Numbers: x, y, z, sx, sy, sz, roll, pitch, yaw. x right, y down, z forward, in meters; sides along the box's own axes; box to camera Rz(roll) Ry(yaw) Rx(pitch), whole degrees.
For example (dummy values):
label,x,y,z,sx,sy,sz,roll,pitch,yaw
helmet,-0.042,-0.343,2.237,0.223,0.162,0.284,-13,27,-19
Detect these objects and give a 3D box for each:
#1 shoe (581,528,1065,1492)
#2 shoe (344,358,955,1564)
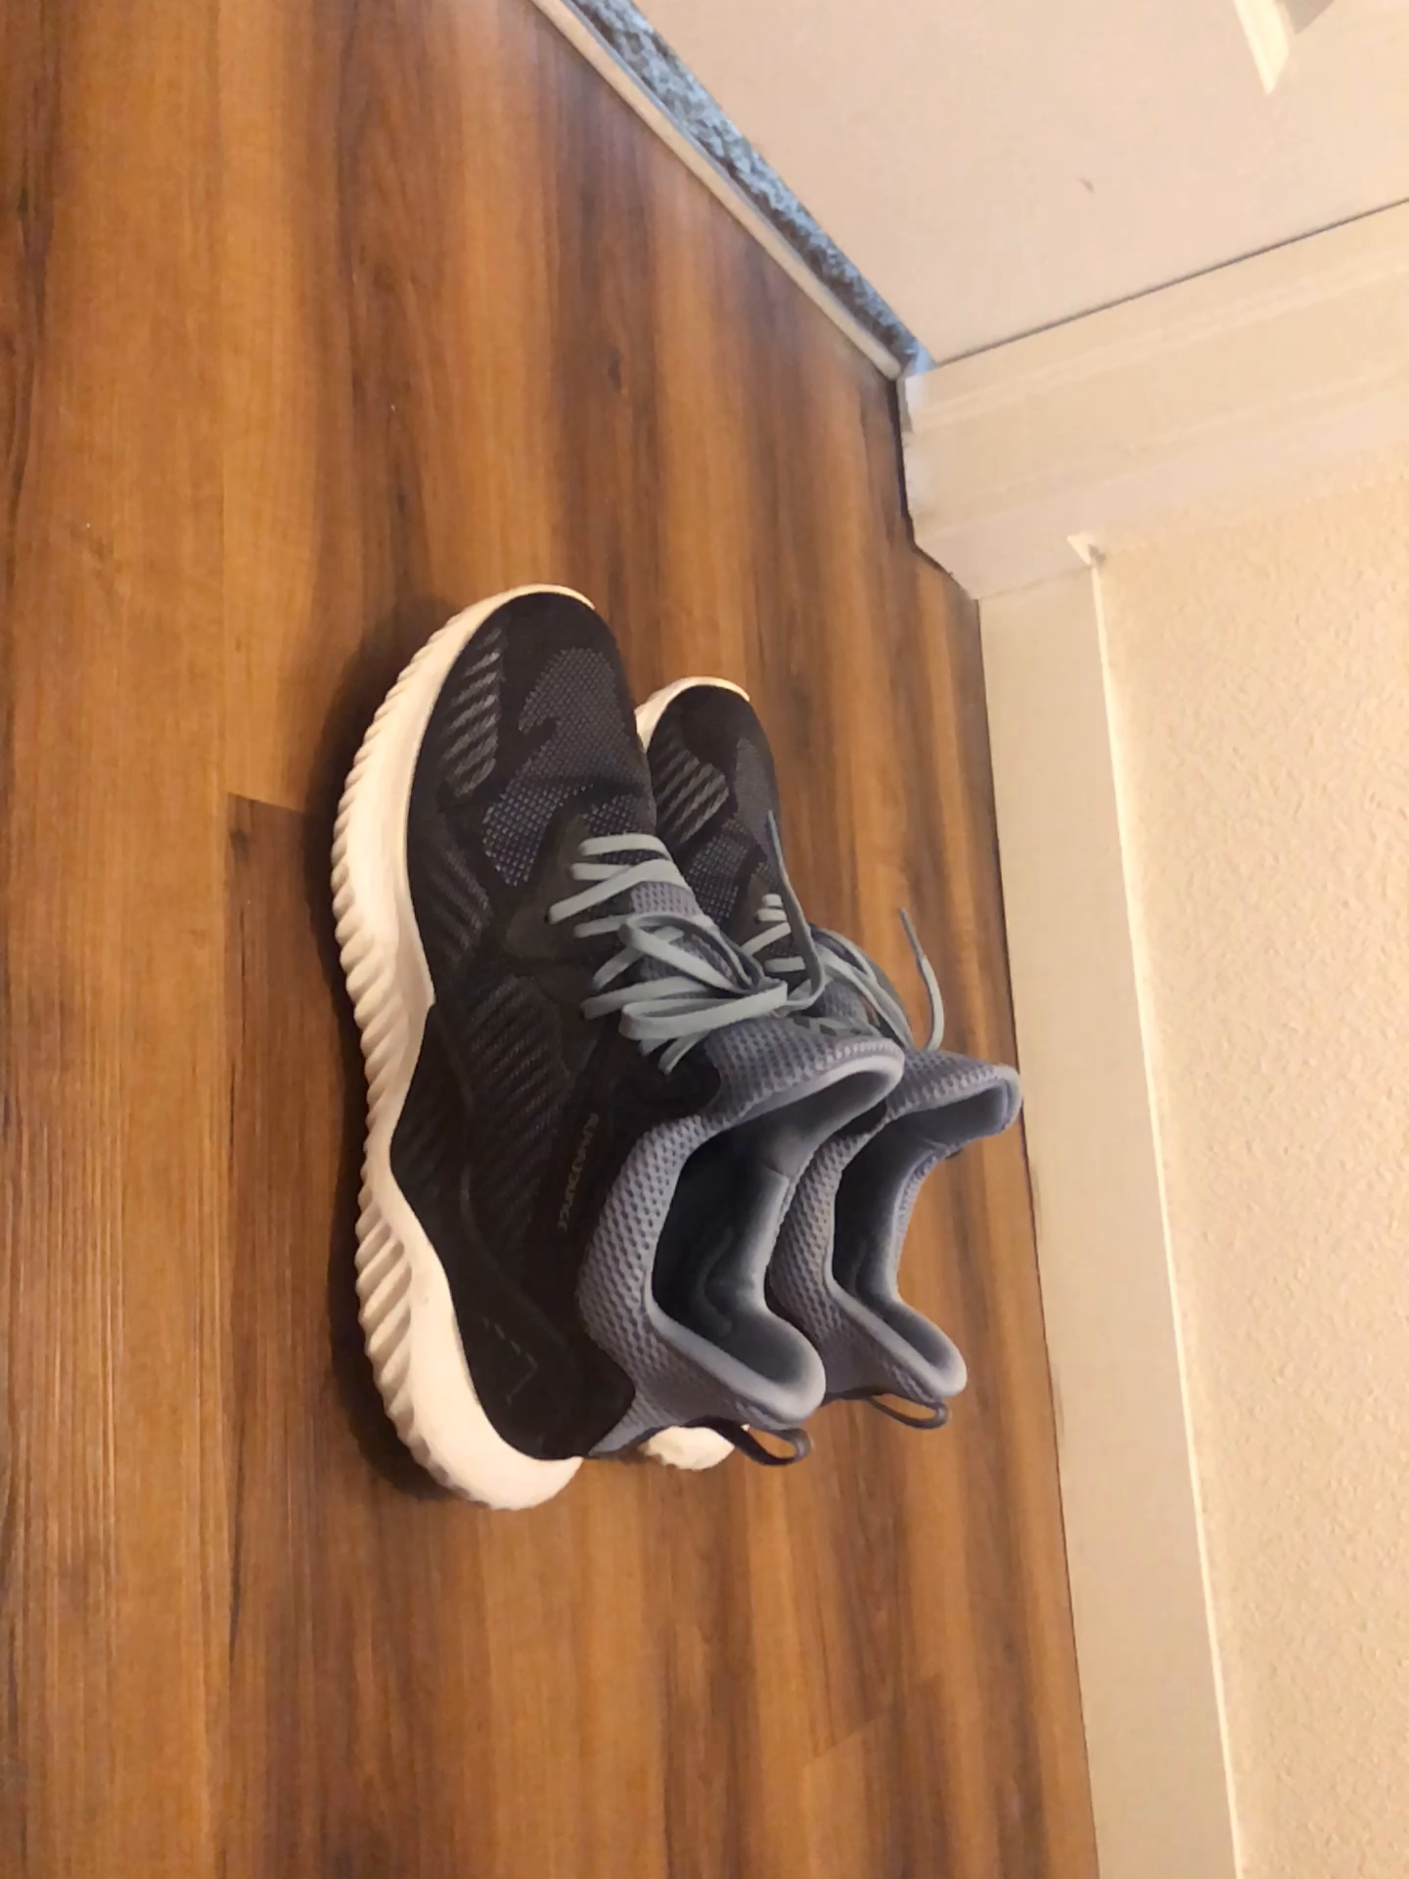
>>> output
label,x,y,z,sx,sy,sz,roll,pitch,yaw
shoe,0.044,0.034,0.611,0.132,0.130,0.334,24,61,-56
shoe,-0.021,0.013,0.509,0.134,0.134,0.333,17,67,-57
